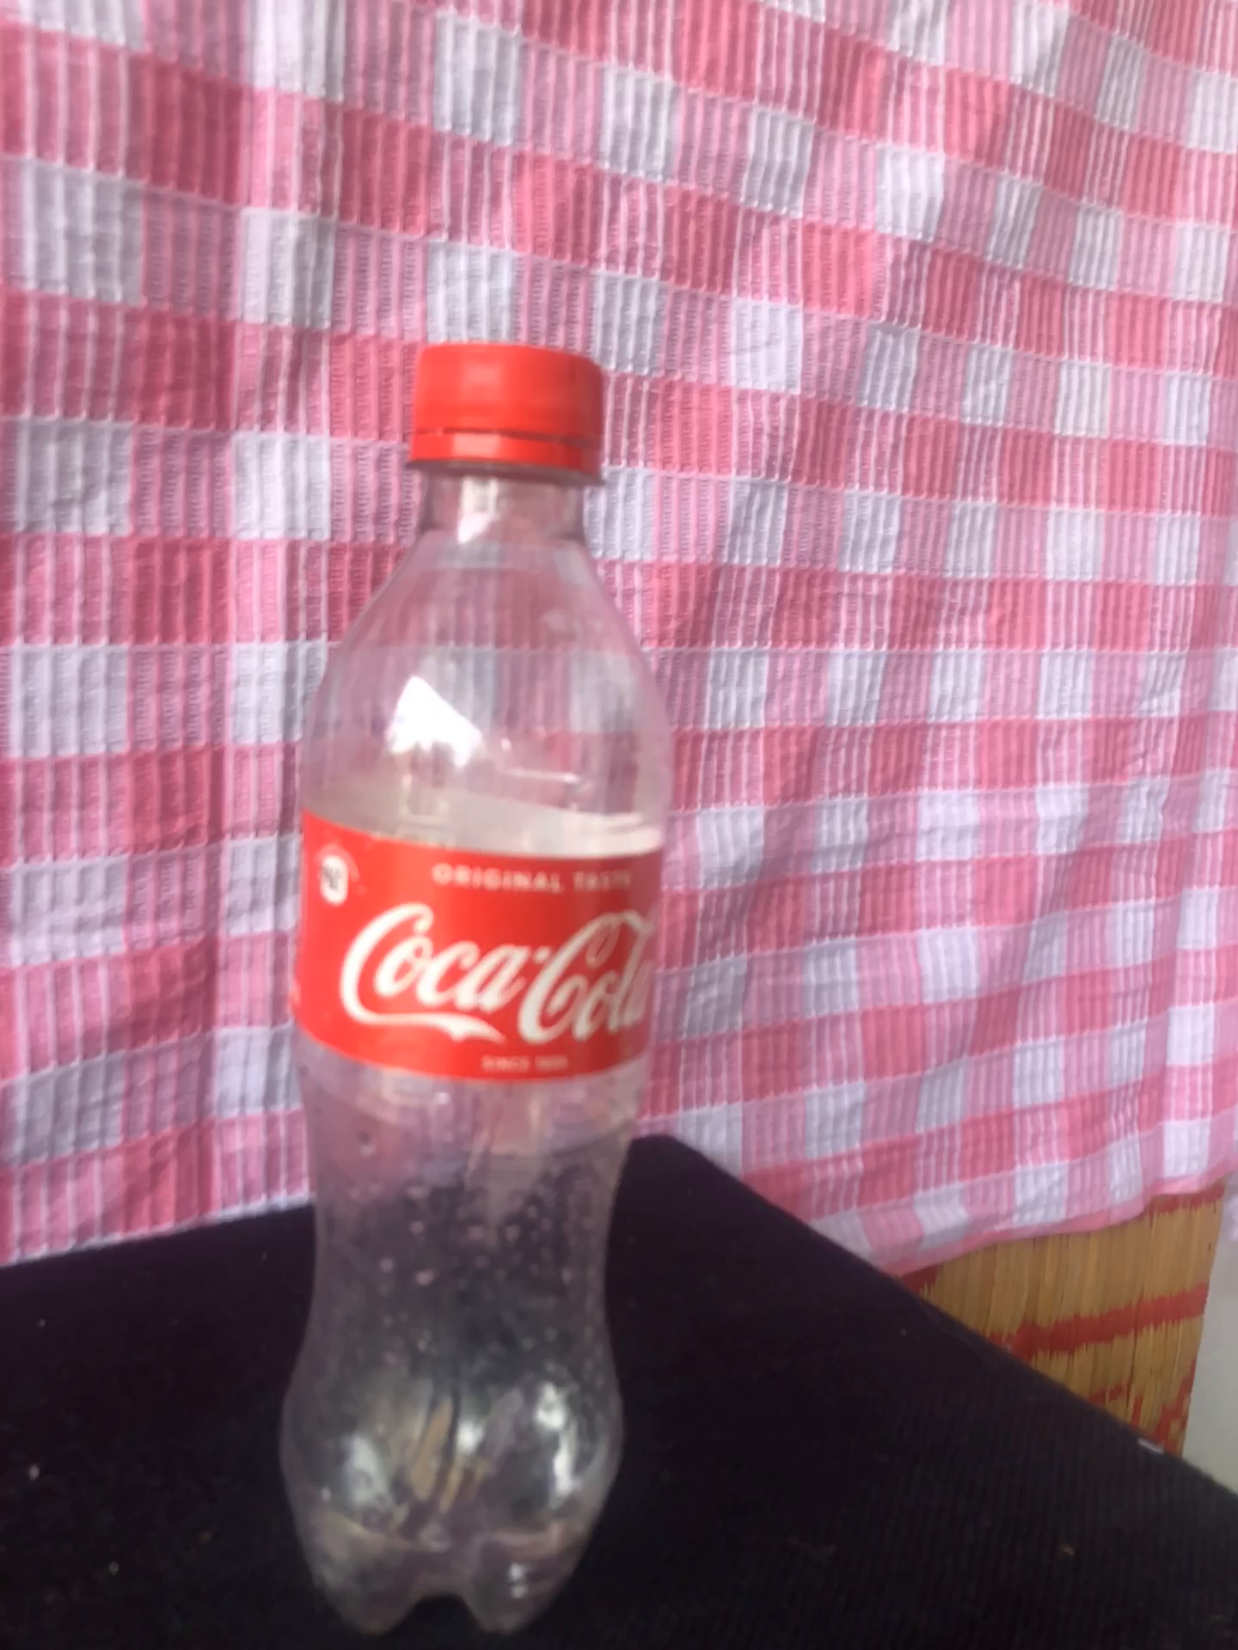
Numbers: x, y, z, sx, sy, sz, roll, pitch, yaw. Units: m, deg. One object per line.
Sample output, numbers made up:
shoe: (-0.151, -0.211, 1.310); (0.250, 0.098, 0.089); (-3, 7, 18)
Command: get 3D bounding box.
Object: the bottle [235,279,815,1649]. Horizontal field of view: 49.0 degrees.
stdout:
bottle: (-0.020, 0.023, 0.213); (0.060, 0.189, 0.060); (6, 11, -1)
